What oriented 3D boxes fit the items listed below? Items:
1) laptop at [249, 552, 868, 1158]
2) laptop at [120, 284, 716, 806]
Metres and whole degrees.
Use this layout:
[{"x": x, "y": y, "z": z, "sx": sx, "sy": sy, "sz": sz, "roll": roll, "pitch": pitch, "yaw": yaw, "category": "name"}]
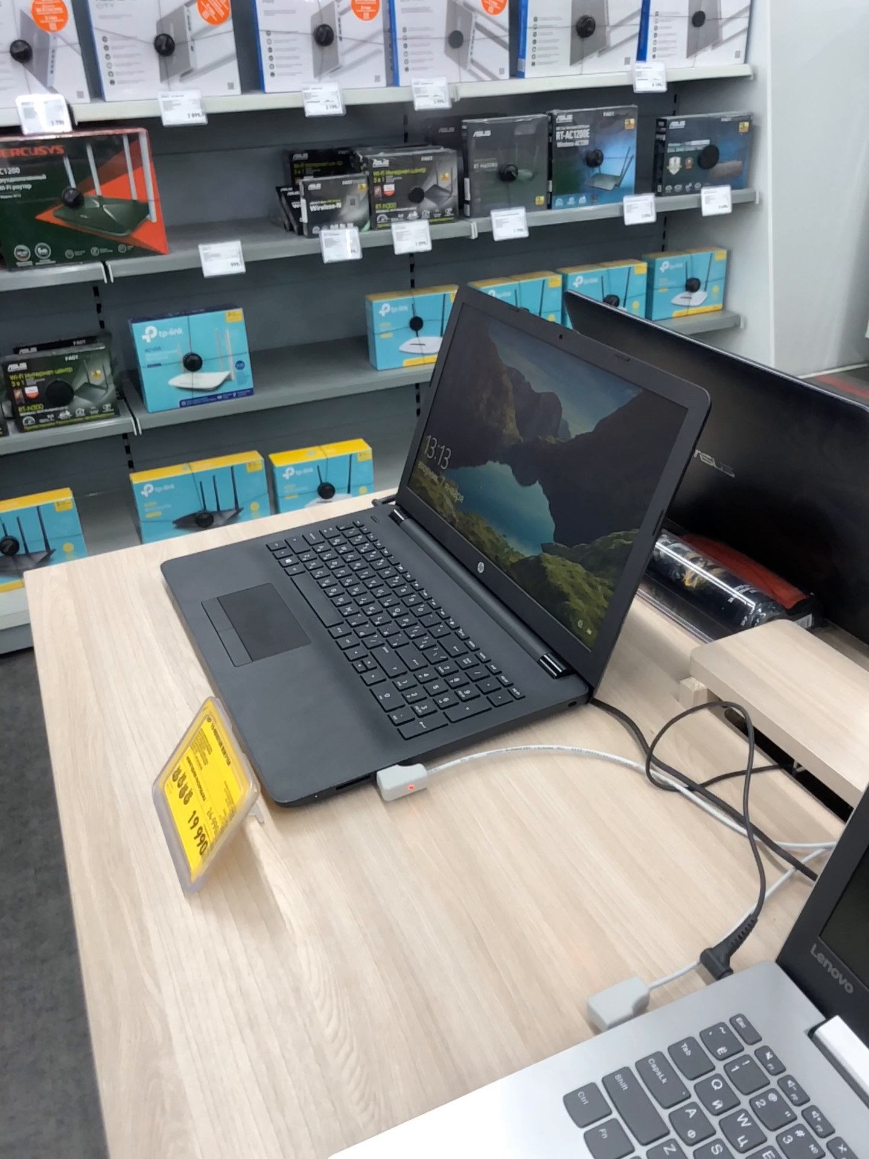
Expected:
[{"x": 0.168, "y": 0.205, "z": 0.267, "sx": 0.339, "sy": 0.226, "sz": 0.372, "roll": -14, "pitch": 30, "yaw": -17, "category": "laptop"}, {"x": -0.039, "y": -0.071, "z": 0.791, "sx": 0.341, "sy": 0.217, "sz": 0.378, "roll": -15, "pitch": 32, "yaw": -20, "category": "laptop"}]
